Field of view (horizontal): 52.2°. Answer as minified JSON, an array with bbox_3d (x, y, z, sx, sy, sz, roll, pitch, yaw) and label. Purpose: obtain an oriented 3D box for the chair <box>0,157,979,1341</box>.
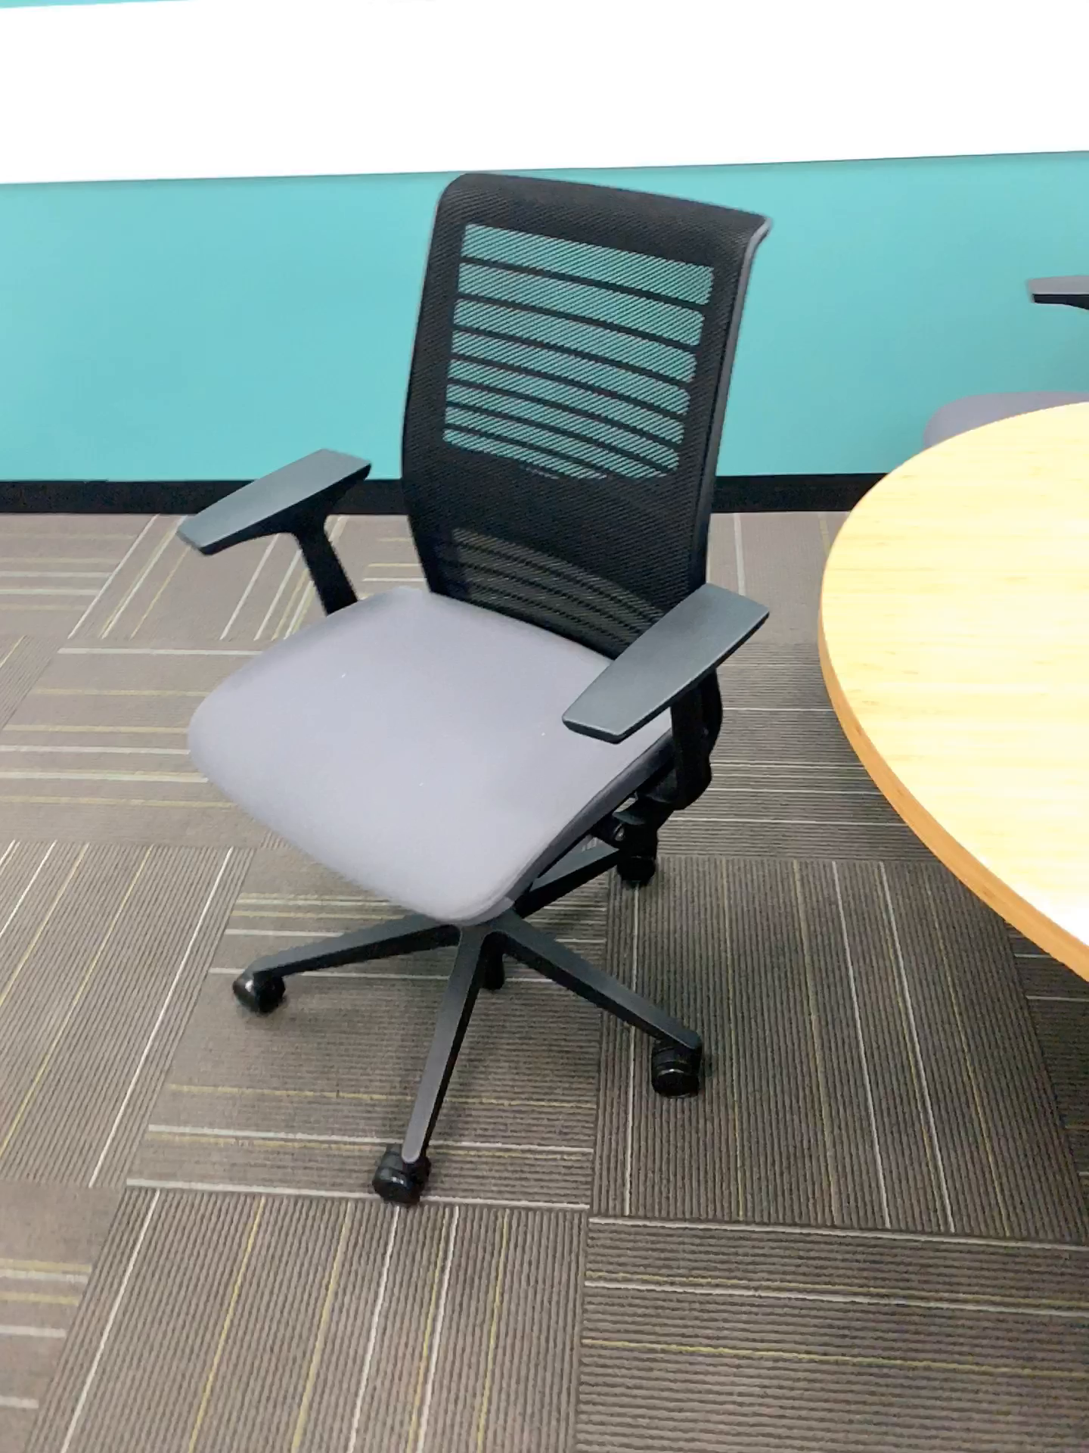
[{"bbox_3d":[-0.063,-0.035,1.379,0.733,0.984,0.842,22,46,28],"label":"chair"}]
